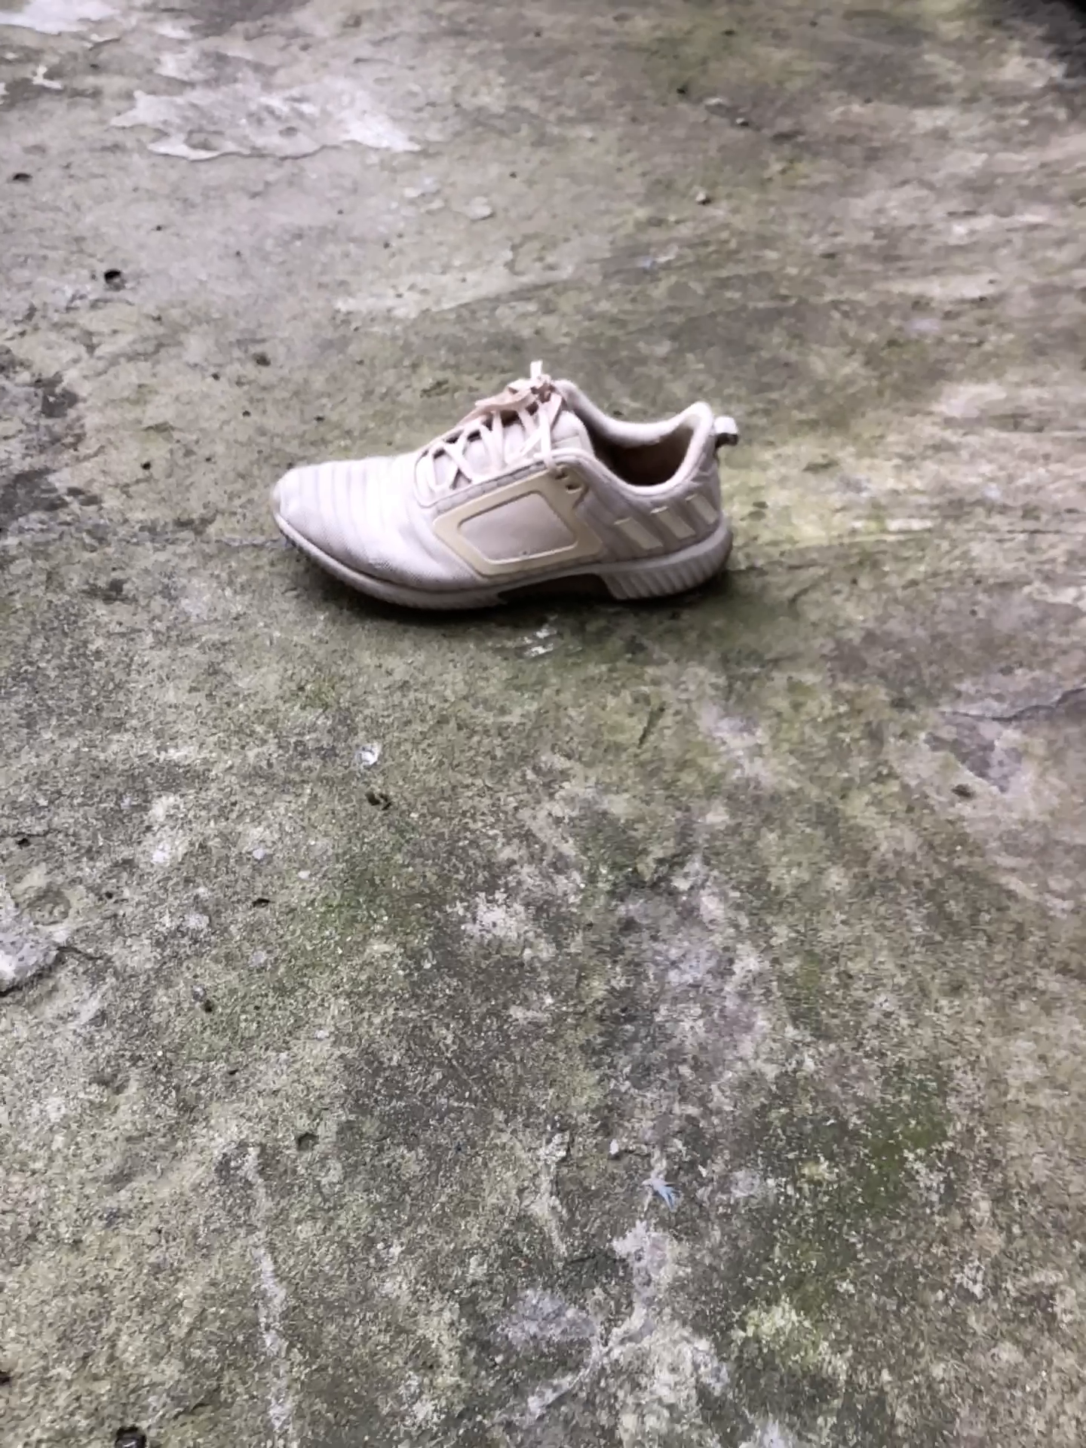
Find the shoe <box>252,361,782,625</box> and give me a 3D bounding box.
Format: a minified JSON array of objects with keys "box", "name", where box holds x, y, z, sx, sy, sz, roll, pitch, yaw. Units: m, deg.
[{"box":[-0.022,-0.143,0.752,0.300,0.109,0.121,-1,44,-9],"name":"shoe"}]
